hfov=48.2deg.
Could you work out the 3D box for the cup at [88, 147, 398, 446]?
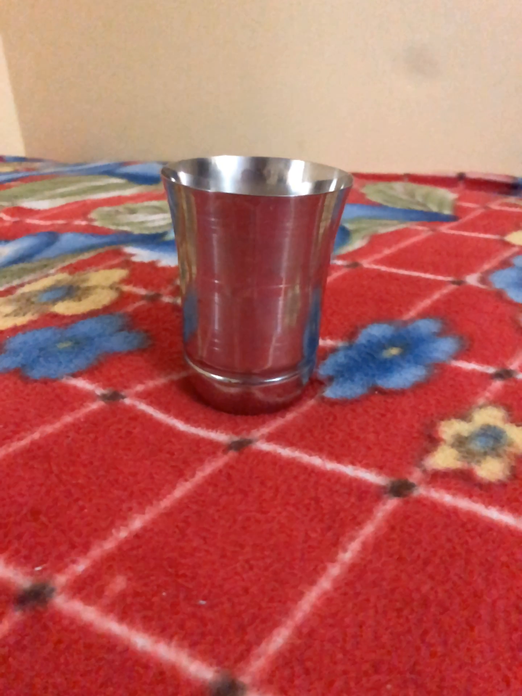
[{"bbox_3d":[-0.004,-0.031,0.246,0.087,0.090,0.089,1,24,-1],"label":"cup"}]
